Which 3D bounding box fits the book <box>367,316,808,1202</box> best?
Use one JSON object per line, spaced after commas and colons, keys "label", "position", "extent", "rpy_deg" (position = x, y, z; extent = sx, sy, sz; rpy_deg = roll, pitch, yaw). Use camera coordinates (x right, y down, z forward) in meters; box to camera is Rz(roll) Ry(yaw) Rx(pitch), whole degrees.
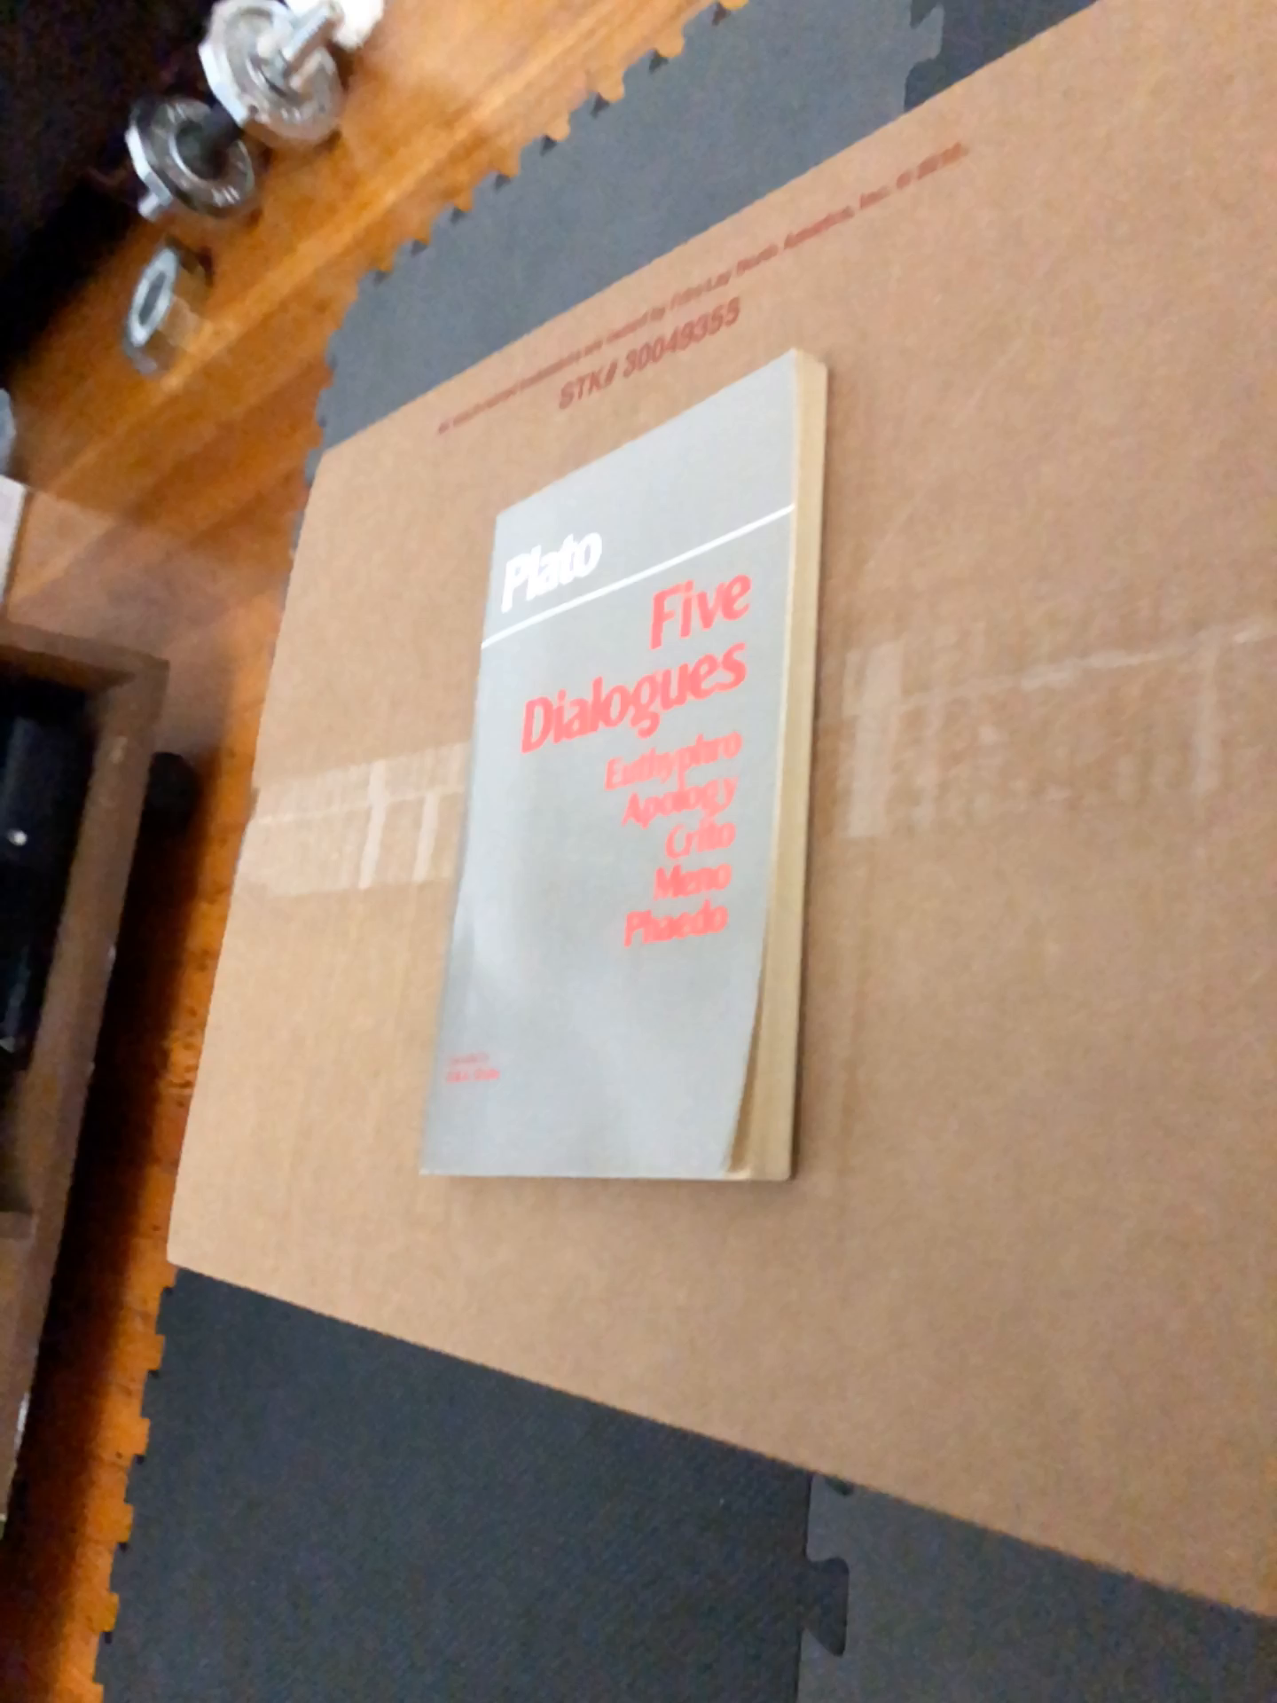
{"label": "book", "position": [-0.016, -0.018, 0.388], "extent": [0.140, 0.020, 0.220], "rpy_deg": [-14, 66, 47]}
